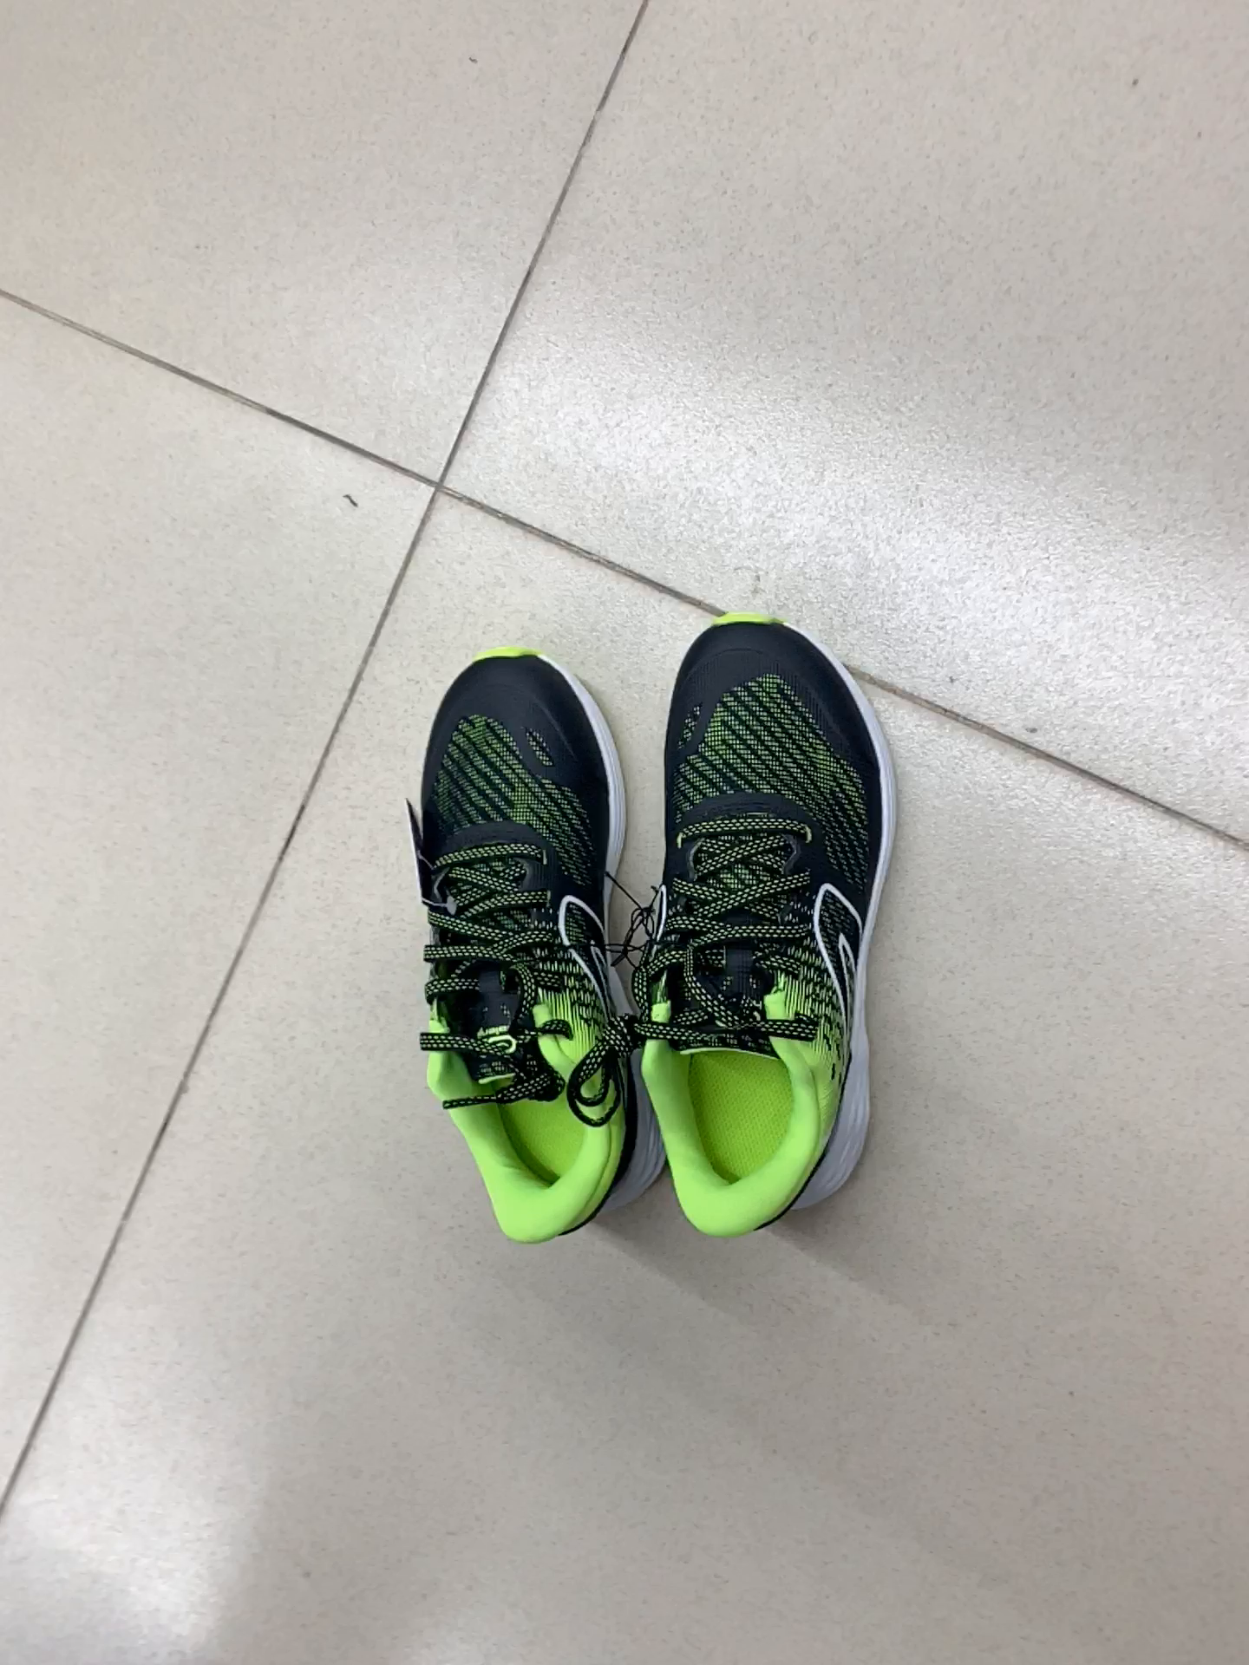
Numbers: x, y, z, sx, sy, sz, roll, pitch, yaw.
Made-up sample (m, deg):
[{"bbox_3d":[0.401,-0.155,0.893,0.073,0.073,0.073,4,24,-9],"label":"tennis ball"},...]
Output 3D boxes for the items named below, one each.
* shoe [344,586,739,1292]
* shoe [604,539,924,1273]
[{"bbox_3d":[-0.027,0.040,0.505,0.090,0.110,0.240,-9,88,17],"label":"shoe"},{"bbox_3d":[0.058,0.026,0.485,0.090,0.110,0.240,-3,89,17],"label":"shoe"}]
